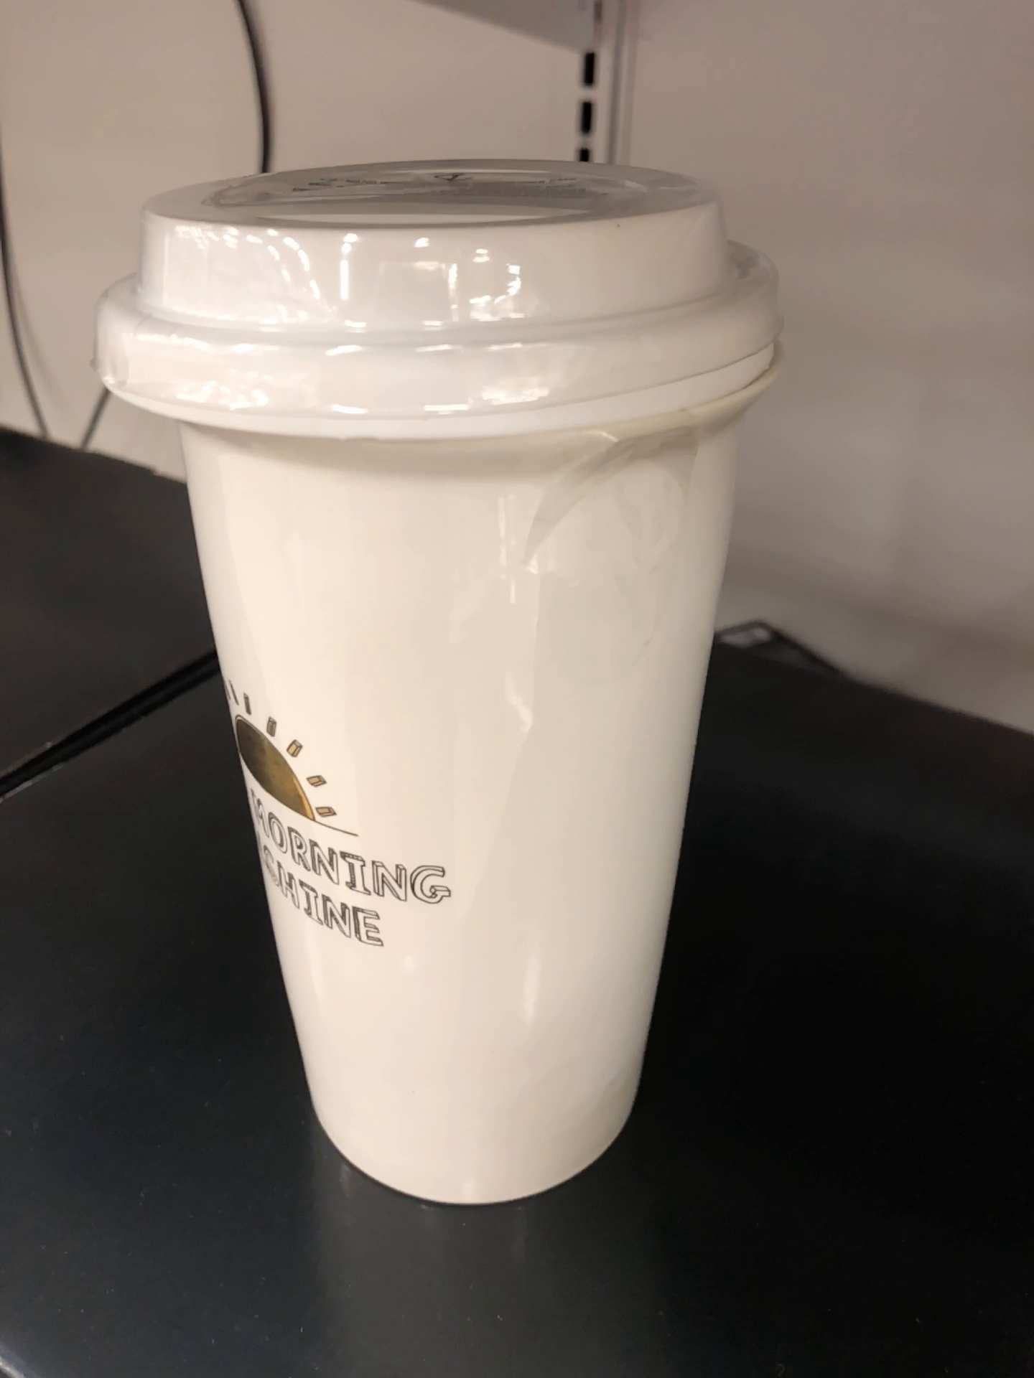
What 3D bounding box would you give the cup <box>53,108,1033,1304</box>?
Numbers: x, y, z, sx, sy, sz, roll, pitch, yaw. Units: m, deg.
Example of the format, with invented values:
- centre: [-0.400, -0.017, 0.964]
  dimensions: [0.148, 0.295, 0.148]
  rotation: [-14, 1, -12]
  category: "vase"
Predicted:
- centre: [-0.006, -0.004, 0.188]
  dimensions: [0.100, 0.149, 0.100]
  rotation: [1, 32, -1]
  category: "cup"
